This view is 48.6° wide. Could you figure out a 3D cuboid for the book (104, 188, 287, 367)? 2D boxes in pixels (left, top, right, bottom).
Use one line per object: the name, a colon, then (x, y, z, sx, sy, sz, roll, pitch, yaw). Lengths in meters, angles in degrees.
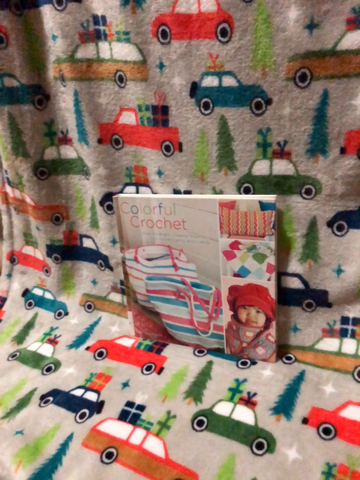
book: (0.022, 0.044, 0.475, 0.202, 0.214, 0.020, 4, 28, 23)
